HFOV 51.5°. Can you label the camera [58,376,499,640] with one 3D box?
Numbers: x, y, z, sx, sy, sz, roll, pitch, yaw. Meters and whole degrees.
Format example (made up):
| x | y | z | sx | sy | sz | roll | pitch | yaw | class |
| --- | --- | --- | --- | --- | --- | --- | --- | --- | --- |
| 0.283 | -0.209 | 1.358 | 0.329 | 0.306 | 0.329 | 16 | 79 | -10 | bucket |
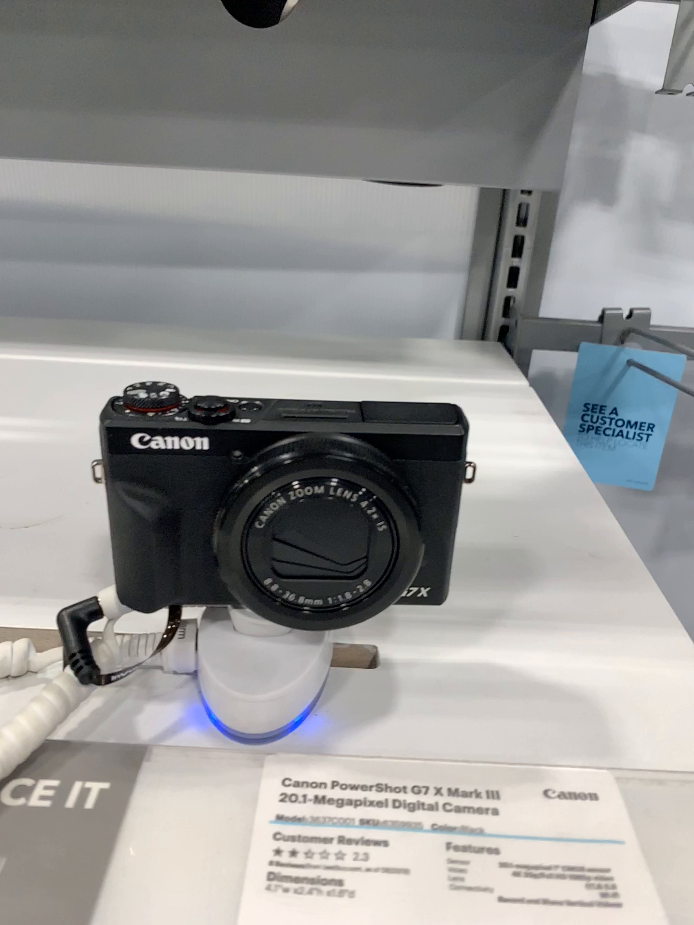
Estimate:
| x | y | z | sx | sy | sz | roll | pitch | yaw | class |
| --- | --- | --- | --- | --- | --- | --- | --- | --- | --- |
| -0.019 | 0.013 | 0.211 | 0.110 | 0.062 | 0.040 | 2 | 24 | -5 | camera |
